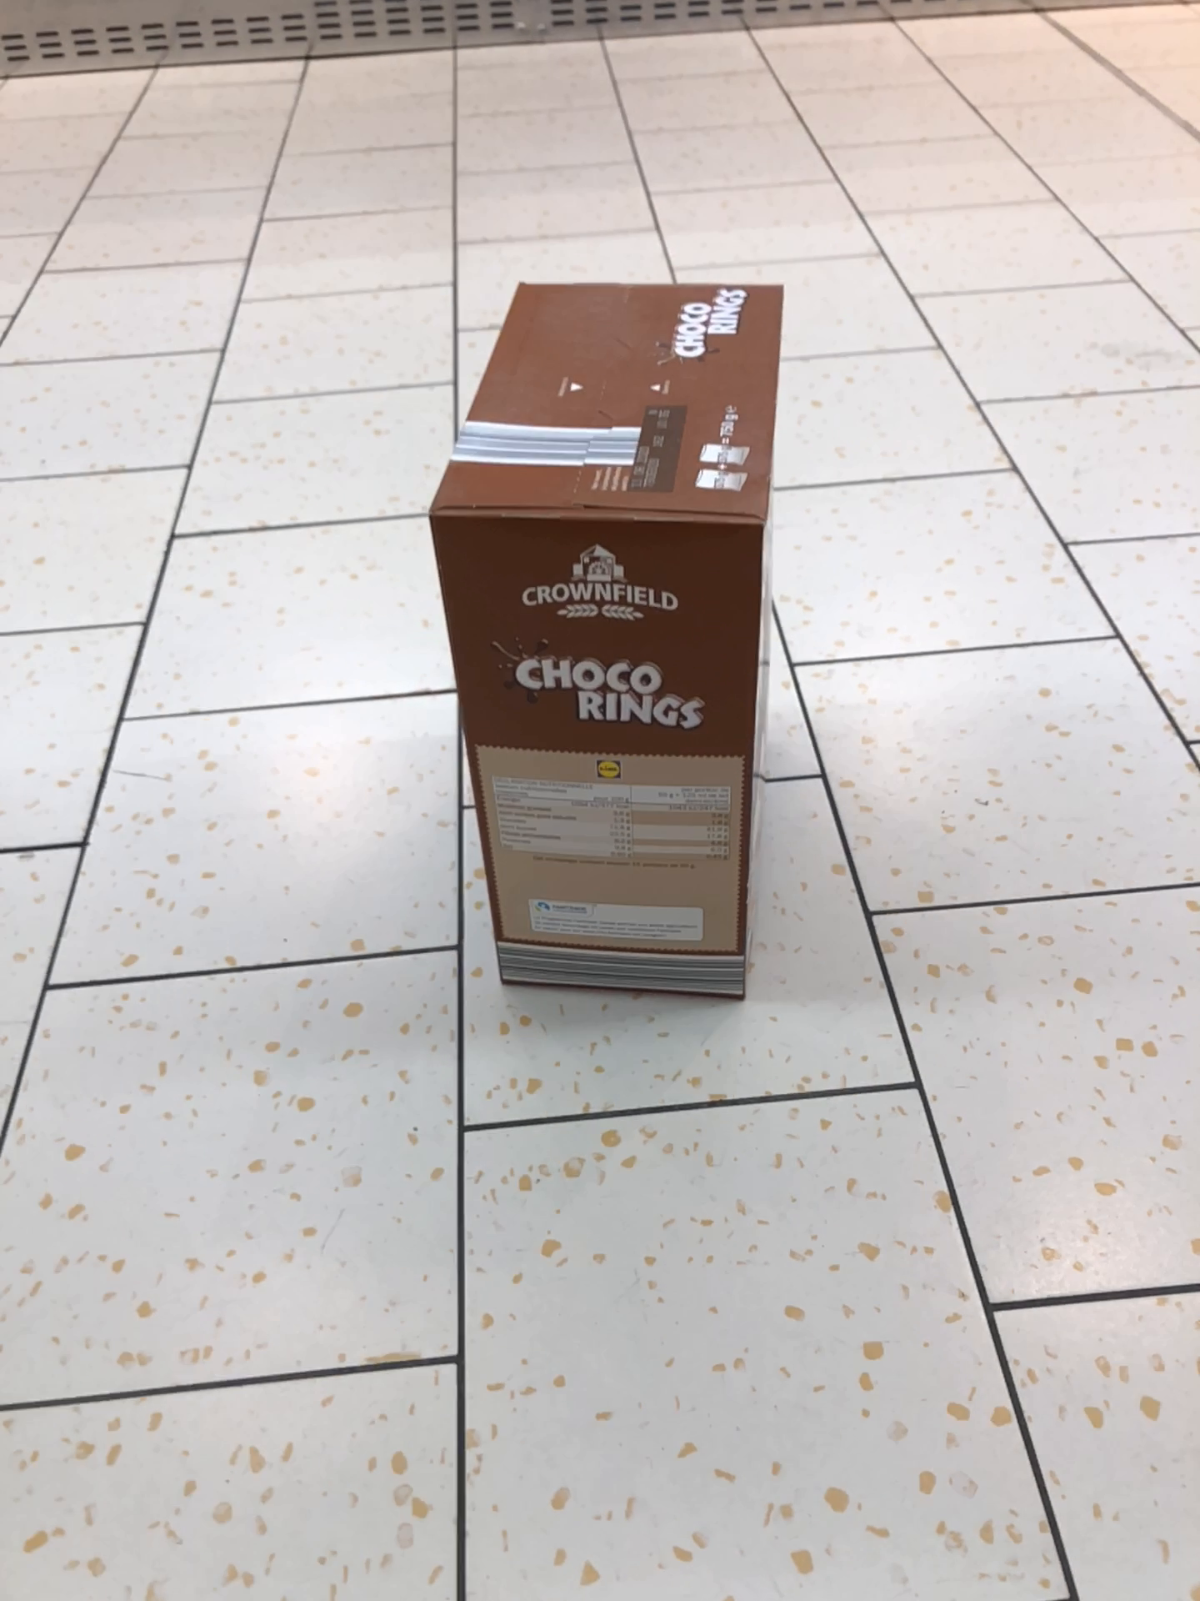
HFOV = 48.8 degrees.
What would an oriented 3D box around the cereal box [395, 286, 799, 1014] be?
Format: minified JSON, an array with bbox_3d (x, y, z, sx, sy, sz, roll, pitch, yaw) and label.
[{"bbox_3d":[0.014,-0.067,0.596,0.130,0.249,0.201,4,43,7],"label":"cereal box"}]
